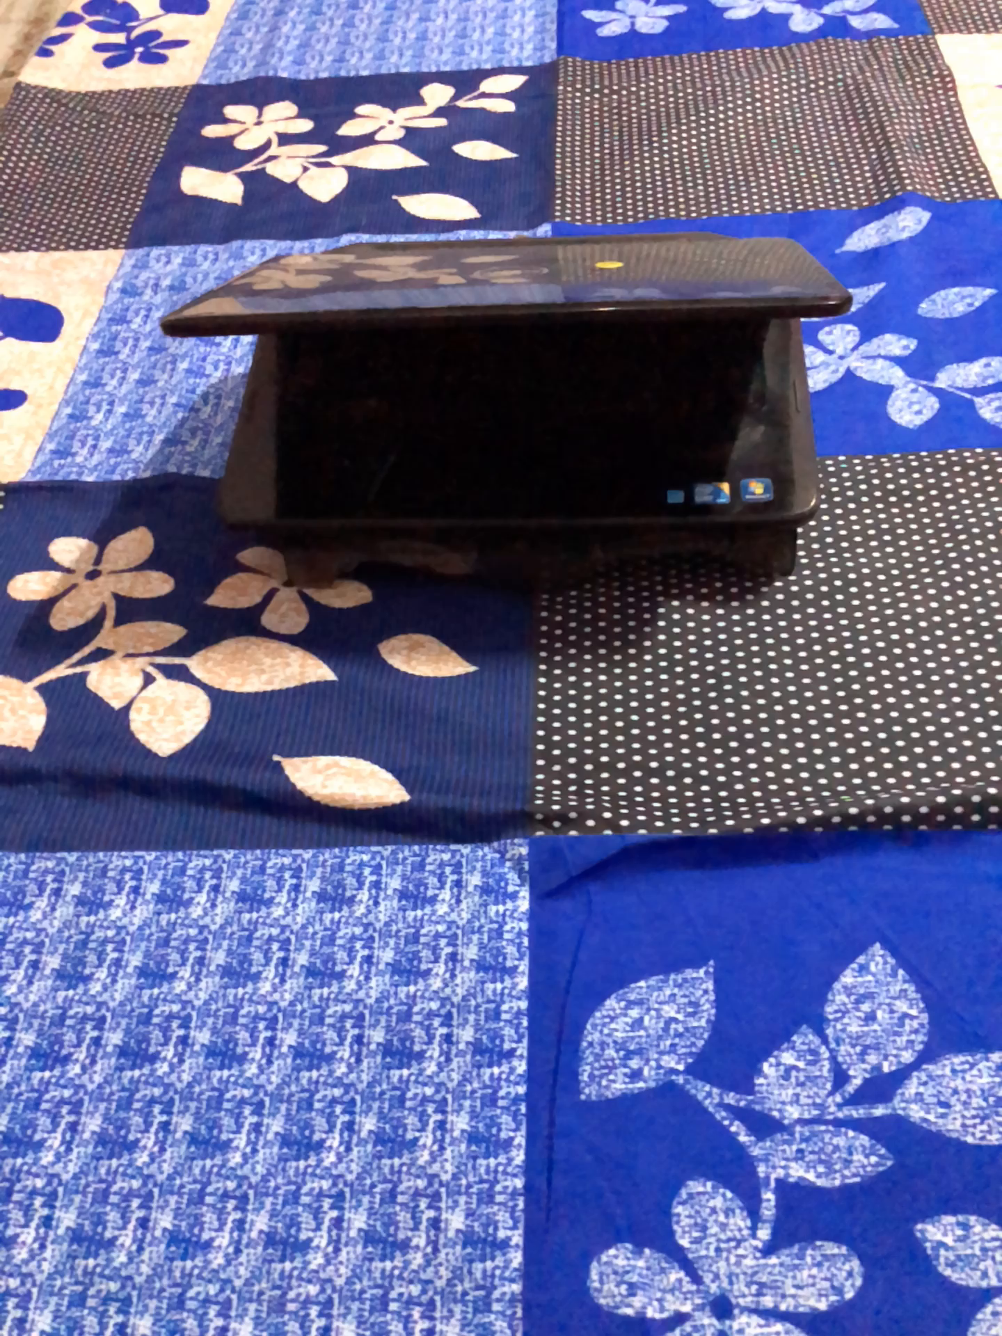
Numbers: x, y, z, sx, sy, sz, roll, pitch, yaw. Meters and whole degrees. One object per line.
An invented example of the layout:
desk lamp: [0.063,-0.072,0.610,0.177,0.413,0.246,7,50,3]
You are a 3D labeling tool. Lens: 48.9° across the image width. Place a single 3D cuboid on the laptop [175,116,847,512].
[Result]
laptop: [0.010,-0.223,0.690,0.362,0.092,0.237,1,57,5]
